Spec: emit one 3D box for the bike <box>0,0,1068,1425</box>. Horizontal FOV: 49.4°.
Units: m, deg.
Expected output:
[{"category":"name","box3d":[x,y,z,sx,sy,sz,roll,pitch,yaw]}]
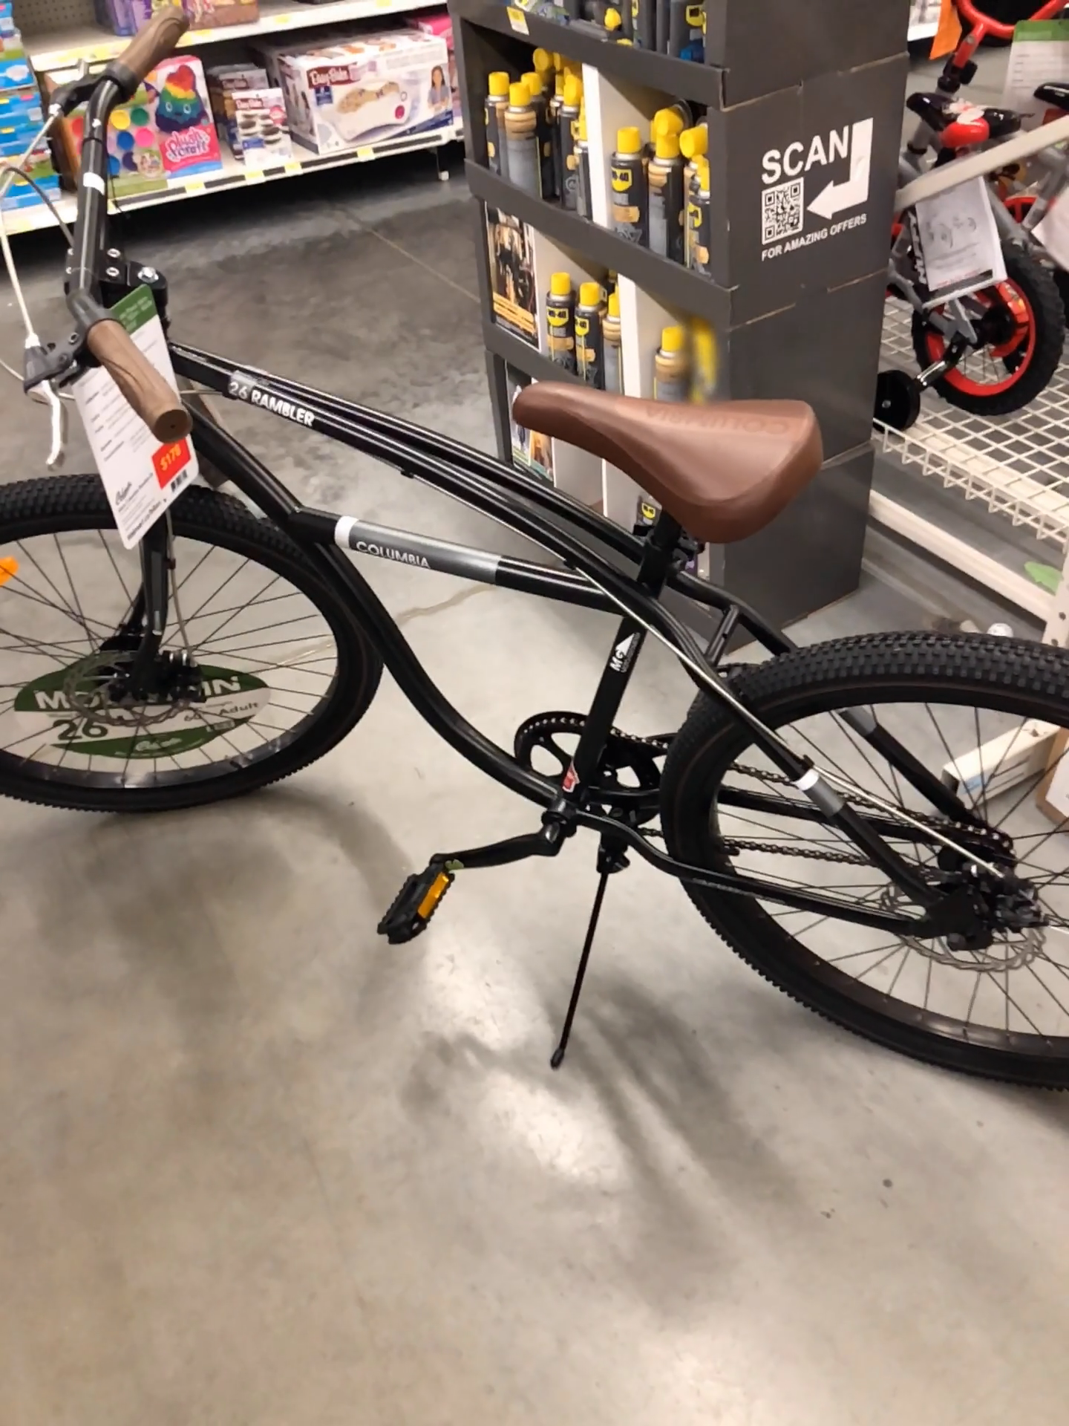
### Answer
[{"category":"bike","box3d":[-0.079,-0.068,1.048,1.583,0.975,0.655,14,44,13]}]
